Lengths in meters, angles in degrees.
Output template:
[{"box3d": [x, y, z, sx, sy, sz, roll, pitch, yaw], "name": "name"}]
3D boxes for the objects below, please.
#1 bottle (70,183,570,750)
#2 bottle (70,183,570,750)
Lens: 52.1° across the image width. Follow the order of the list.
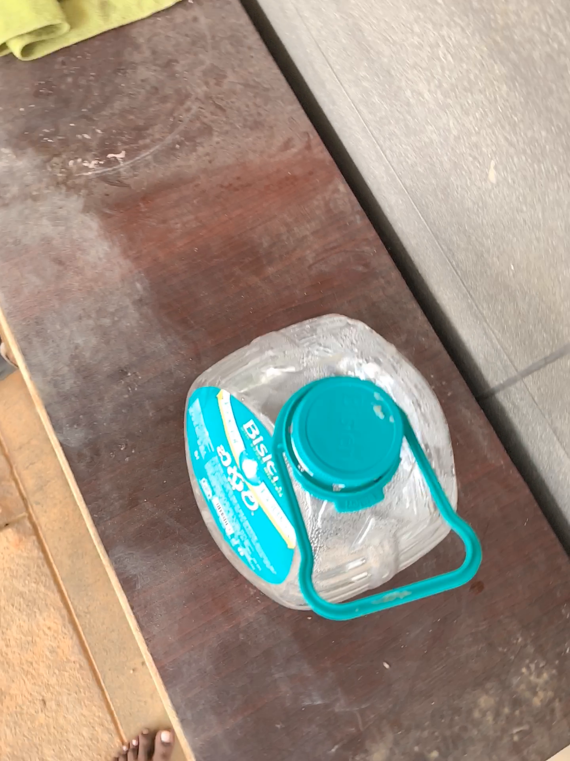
[{"box3d": [0.016, 0.050, 0.372, 0.180, 0.220, 0.200, -24, 78, -10], "name": "bottle"}, {"box3d": [0.016, 0.050, 0.372, 0.180, 0.220, 0.200, -24, 78, -10], "name": "bottle"}]
